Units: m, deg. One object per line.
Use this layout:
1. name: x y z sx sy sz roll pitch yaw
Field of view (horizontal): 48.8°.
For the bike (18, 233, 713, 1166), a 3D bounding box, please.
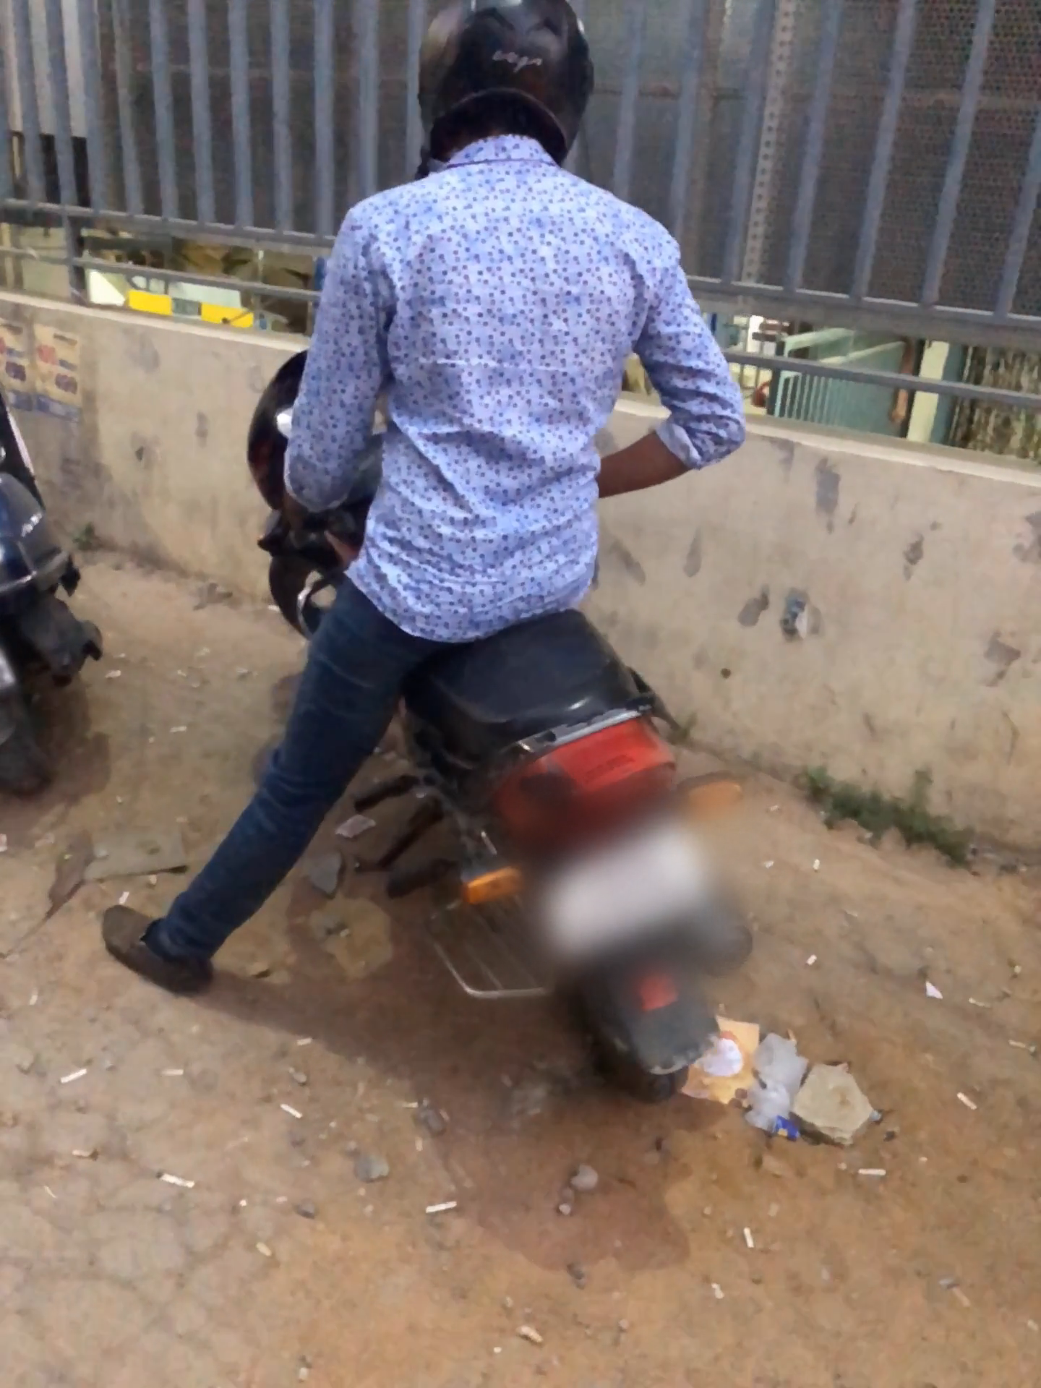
1. bike: -0.435 -0.174 2.036 0.425 0.830 1.658 -11 34 -30
